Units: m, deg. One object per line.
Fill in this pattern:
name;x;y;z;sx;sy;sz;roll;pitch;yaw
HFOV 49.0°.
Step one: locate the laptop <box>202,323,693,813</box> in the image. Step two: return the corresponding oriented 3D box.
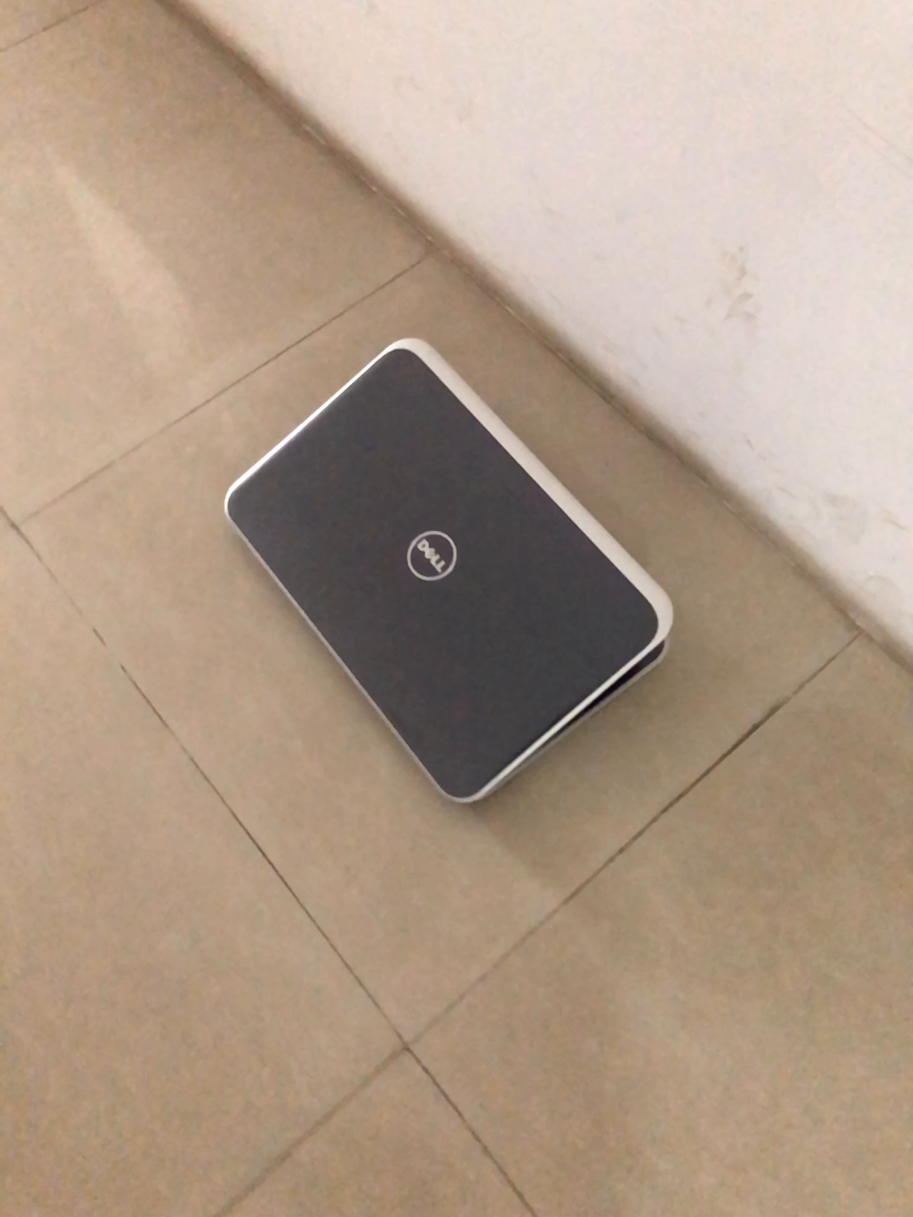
laptop;-0.014;-0.045;0.870;0.234;0.080;0.360;-36;72;-12
